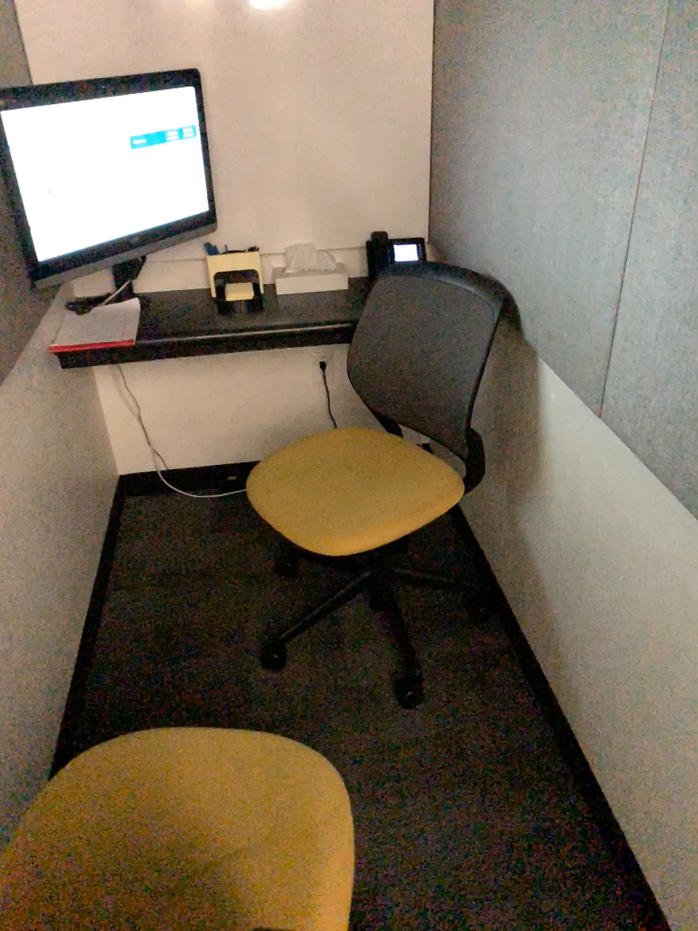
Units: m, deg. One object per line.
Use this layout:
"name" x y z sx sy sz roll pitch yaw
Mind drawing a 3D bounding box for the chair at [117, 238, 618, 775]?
"chair" 0.062 0.012 2.144 0.952 1.033 0.924 -29 41 -36

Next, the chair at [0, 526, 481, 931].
"chair" -0.166 0.597 0.773 0.550 0.845 0.573 3 32 8
